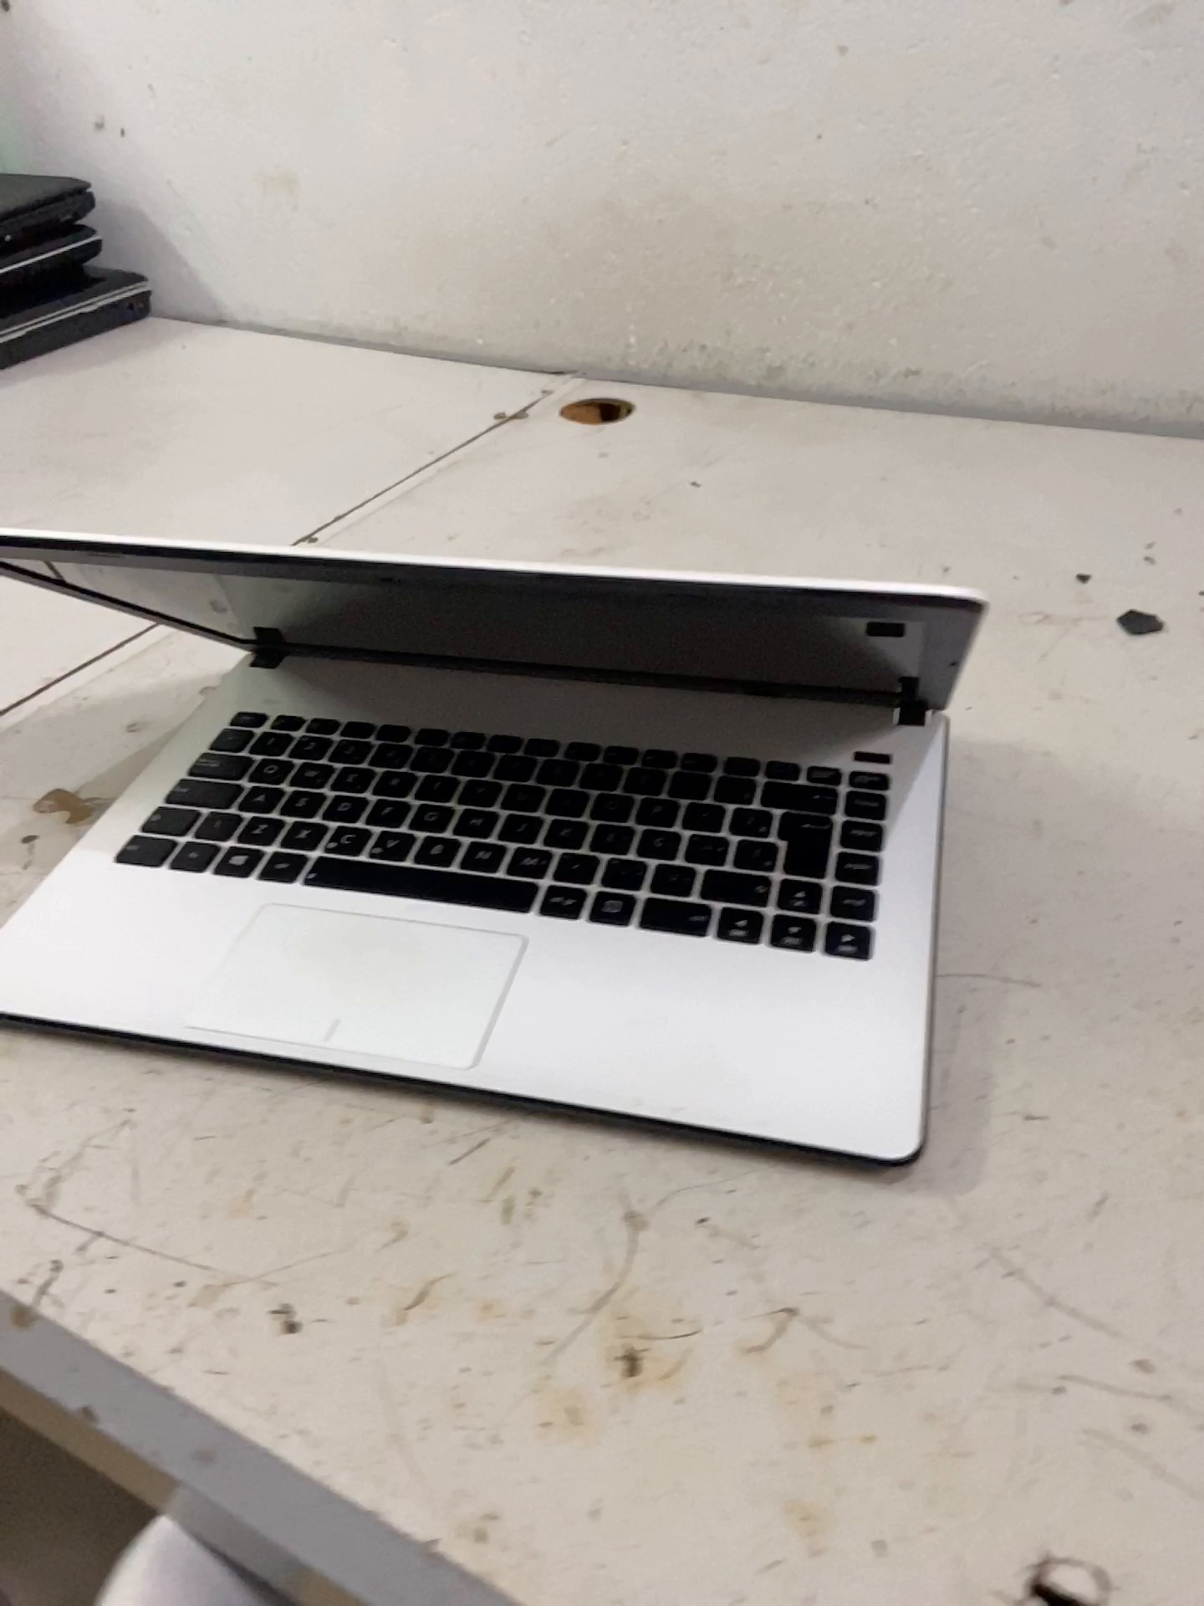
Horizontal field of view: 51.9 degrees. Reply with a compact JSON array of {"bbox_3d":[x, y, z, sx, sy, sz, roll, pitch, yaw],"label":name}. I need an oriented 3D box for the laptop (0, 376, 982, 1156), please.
[{"bbox_3d":[-0.049,-0.041,0.455,0.343,0.141,0.237,6,39,13],"label":"laptop"}]
